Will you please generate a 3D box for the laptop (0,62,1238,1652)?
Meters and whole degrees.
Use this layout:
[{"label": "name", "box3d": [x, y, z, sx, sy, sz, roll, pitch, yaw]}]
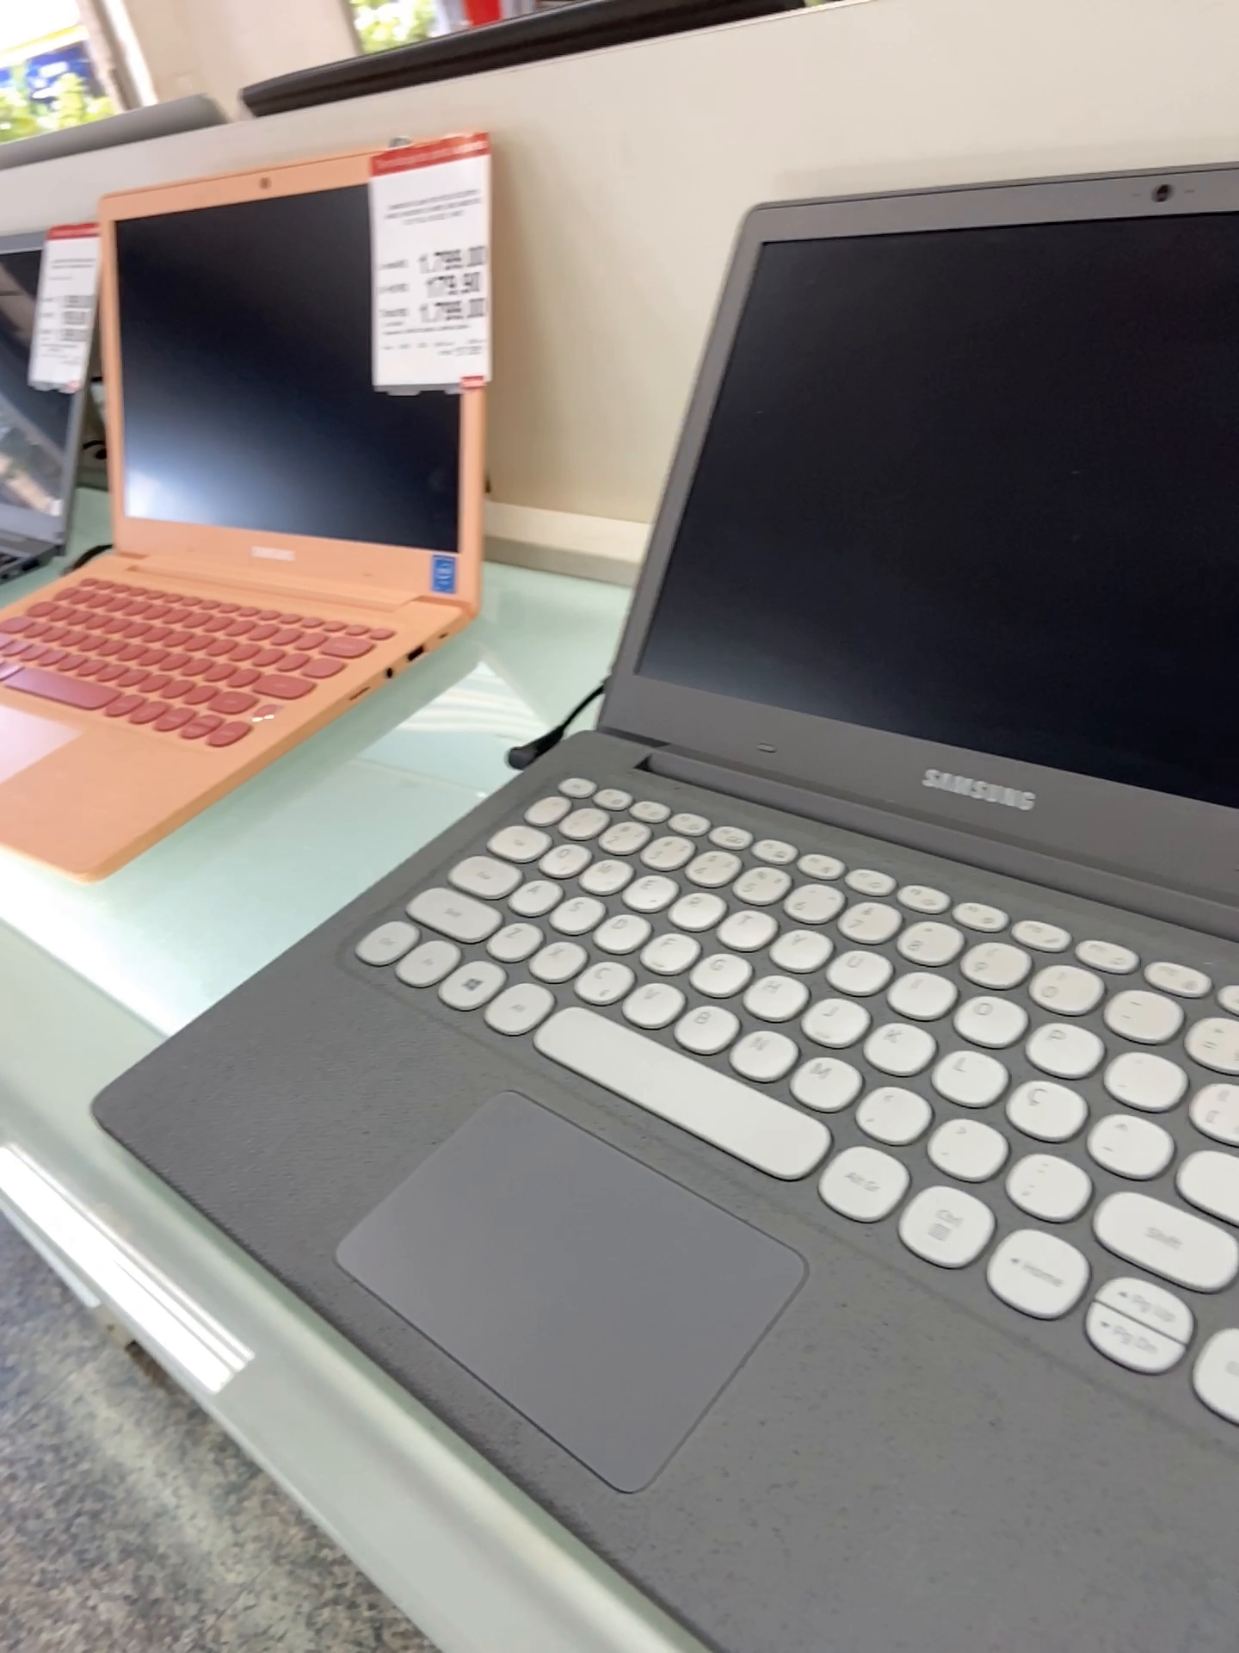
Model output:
[{"label": "laptop", "box3d": [0.063, -0.041, 0.324, 0.320, 0.144, 0.365, 18, 47, 41]}]
